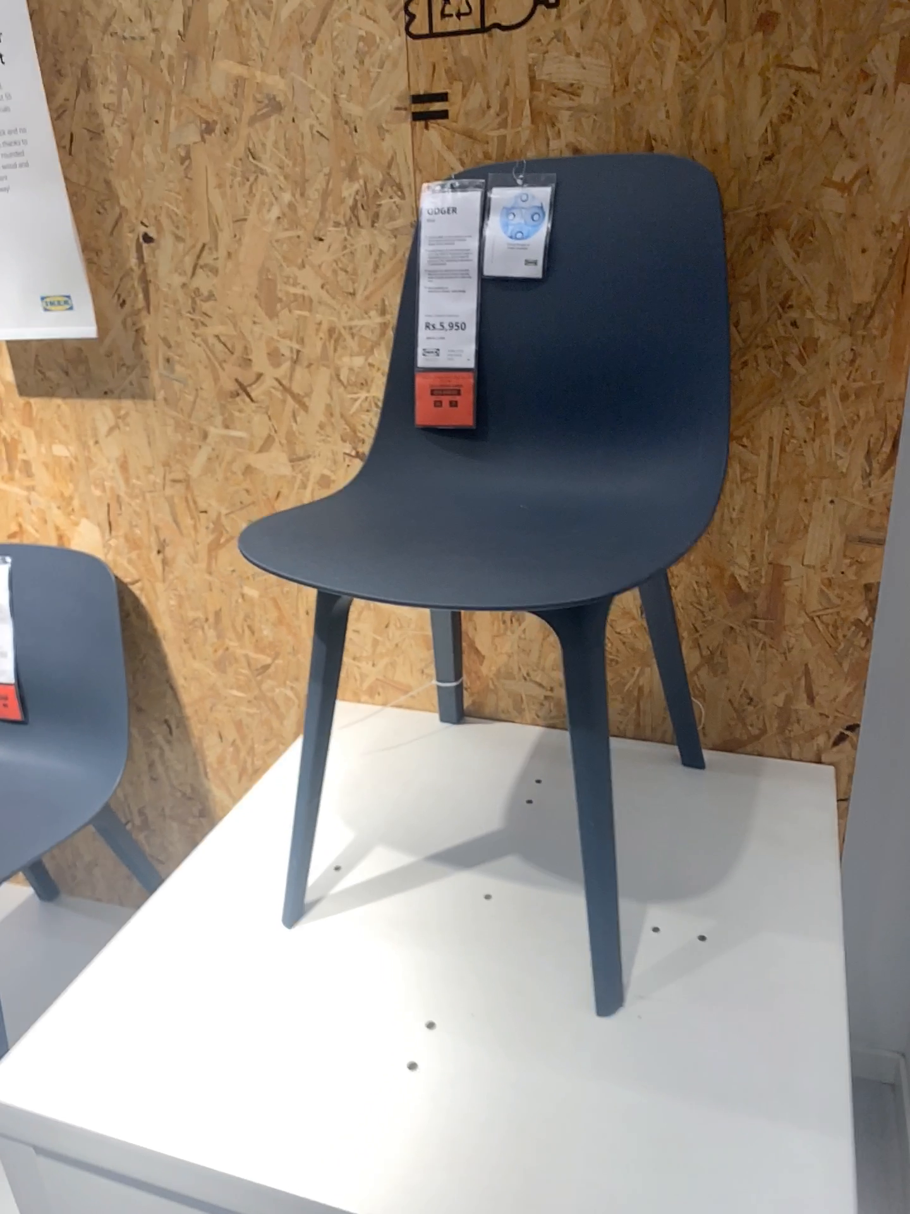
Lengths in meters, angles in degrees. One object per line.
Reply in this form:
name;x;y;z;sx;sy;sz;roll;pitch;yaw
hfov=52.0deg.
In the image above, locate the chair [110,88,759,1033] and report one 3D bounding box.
chair;0.044;-0.080;1.006;0.430;0.767;0.501;7;25;22
